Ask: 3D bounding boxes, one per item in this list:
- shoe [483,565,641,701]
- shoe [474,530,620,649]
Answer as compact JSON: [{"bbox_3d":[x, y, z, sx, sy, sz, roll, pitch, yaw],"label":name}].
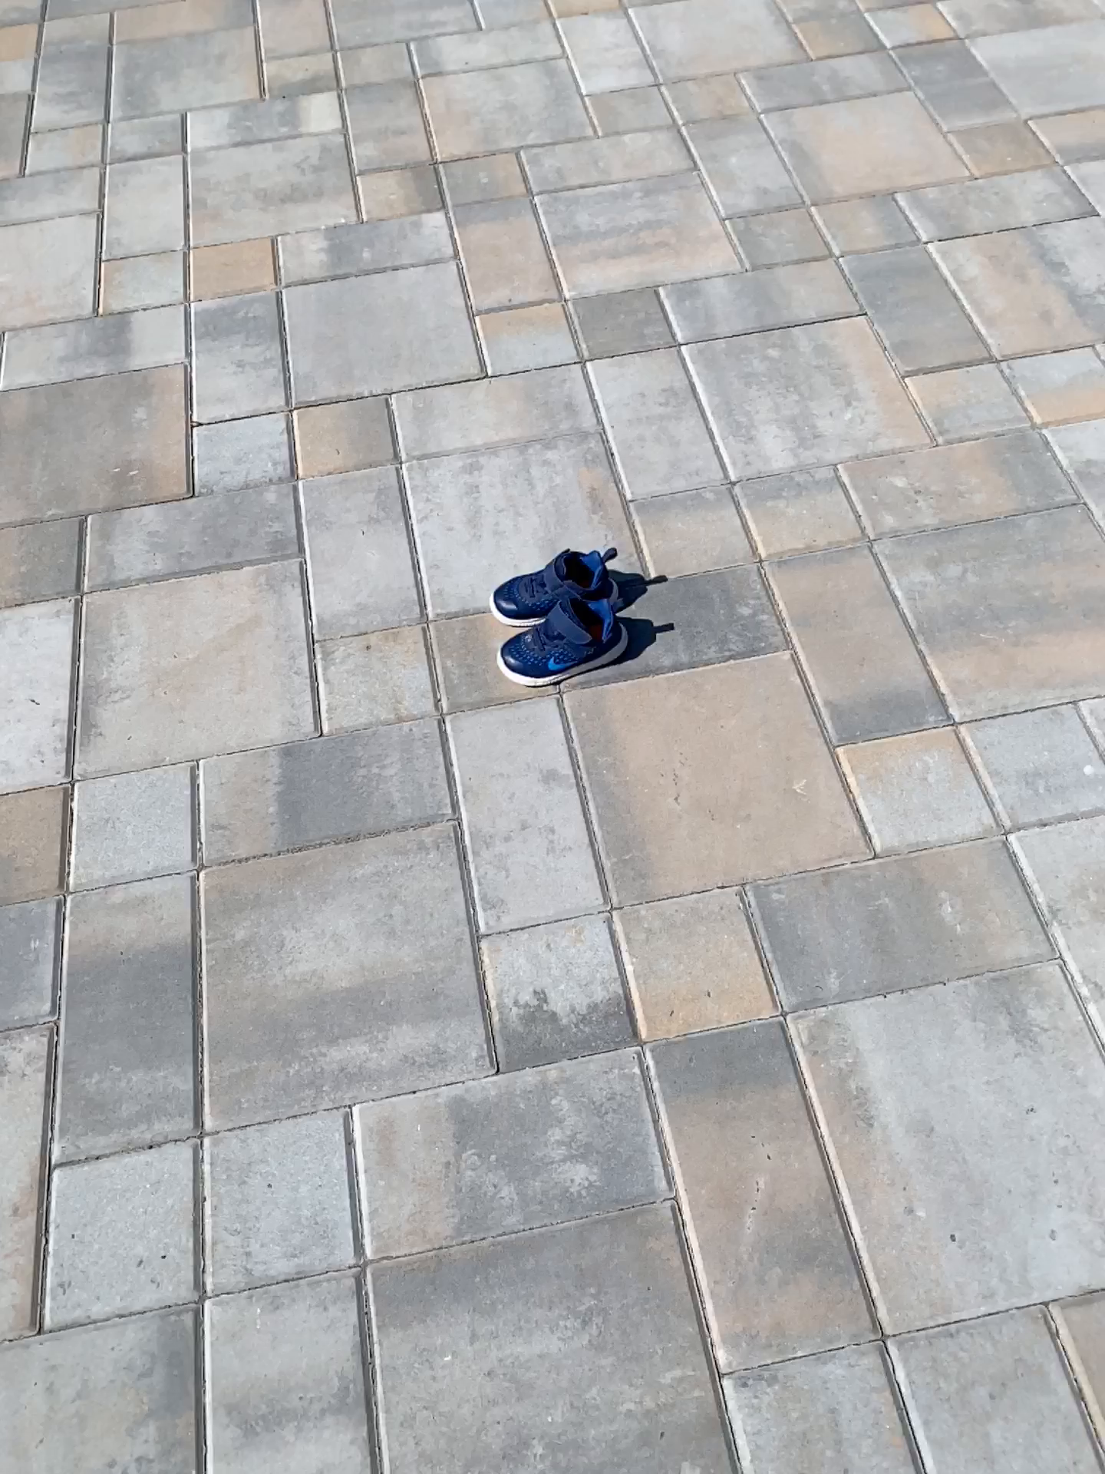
[{"bbox_3d":[0.013,-0.127,1.387,0.170,0.090,0.090,-15,57,-7],"label":"shoe"},{"bbox_3d":[-0.006,-0.189,1.457,0.170,0.090,0.090,-10,57,-3],"label":"shoe"}]
